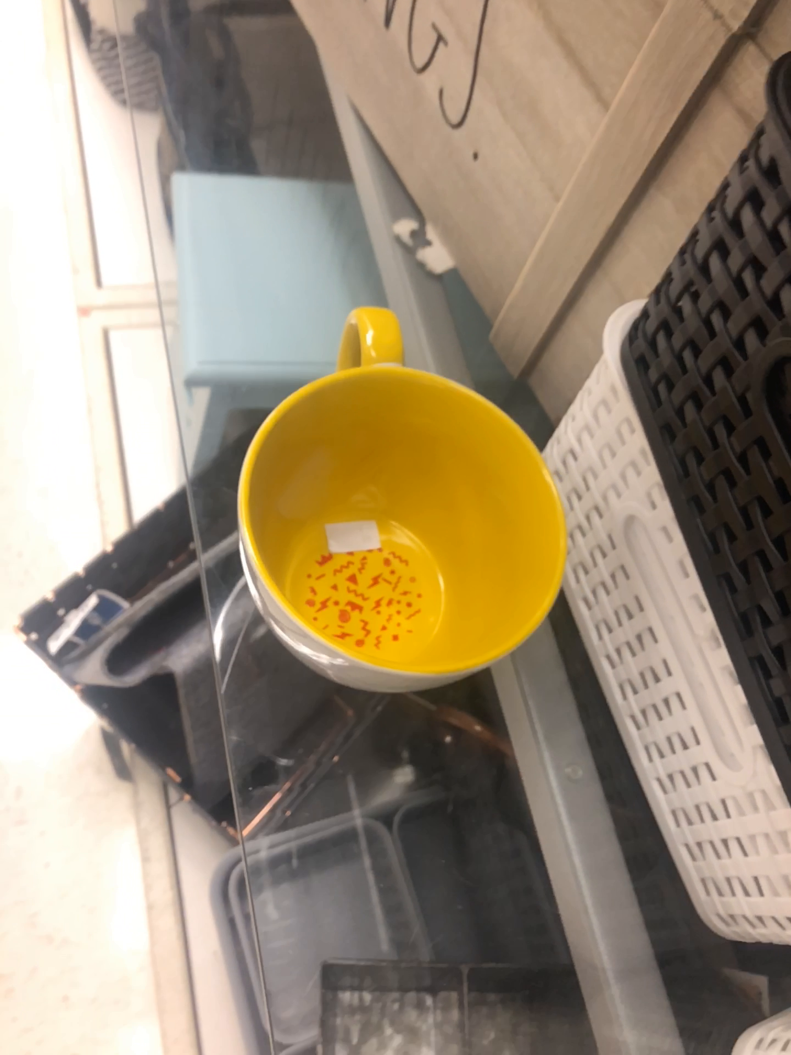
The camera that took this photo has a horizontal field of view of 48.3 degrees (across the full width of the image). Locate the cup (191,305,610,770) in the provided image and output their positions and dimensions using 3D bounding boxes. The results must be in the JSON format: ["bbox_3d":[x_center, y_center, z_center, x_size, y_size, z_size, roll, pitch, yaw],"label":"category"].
[{"bbox_3d":[-0.008,0.001,0.353,0.126,0.076,0.157,-6,68,-15],"label":"cup"}]
